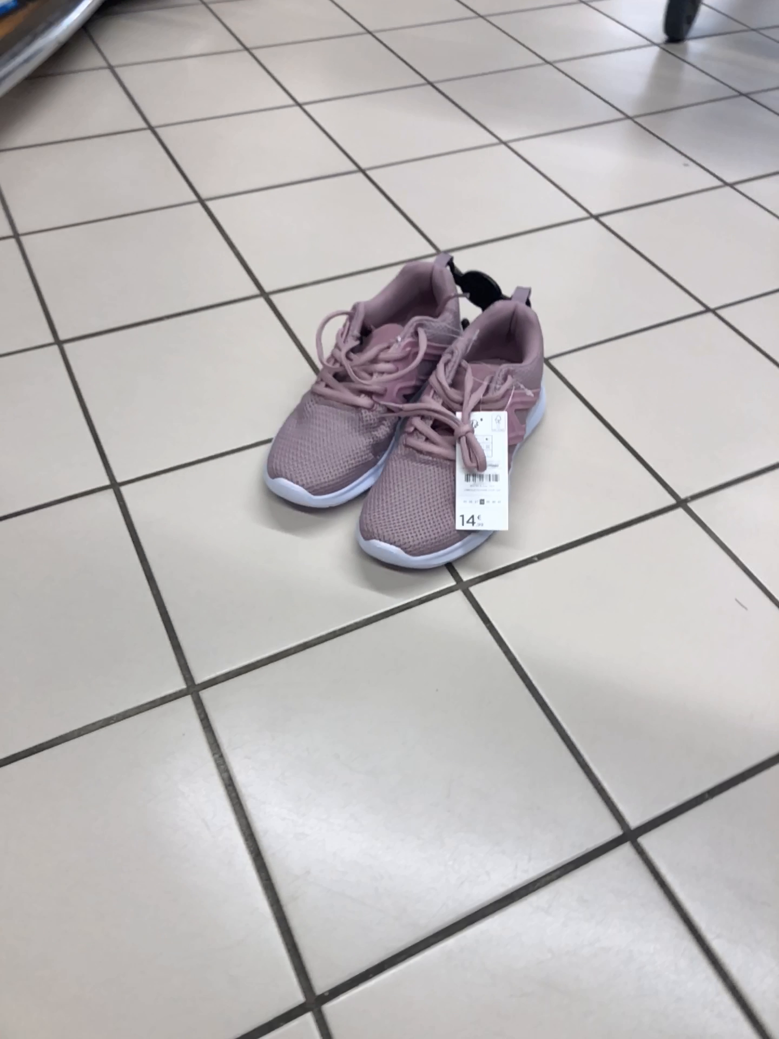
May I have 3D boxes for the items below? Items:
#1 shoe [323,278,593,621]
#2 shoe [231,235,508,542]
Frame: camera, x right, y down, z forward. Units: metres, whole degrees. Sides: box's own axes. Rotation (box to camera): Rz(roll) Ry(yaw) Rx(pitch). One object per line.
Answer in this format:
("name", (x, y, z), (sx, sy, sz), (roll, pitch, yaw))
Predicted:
("shoe", (0.058, -0.065, 0.662), (0.102, 0.099, 0.262), (22, 50, 16))
("shoe", (-0.007, -0.117, 0.696), (0.100, 0.092, 0.262), (23, 51, 17))
